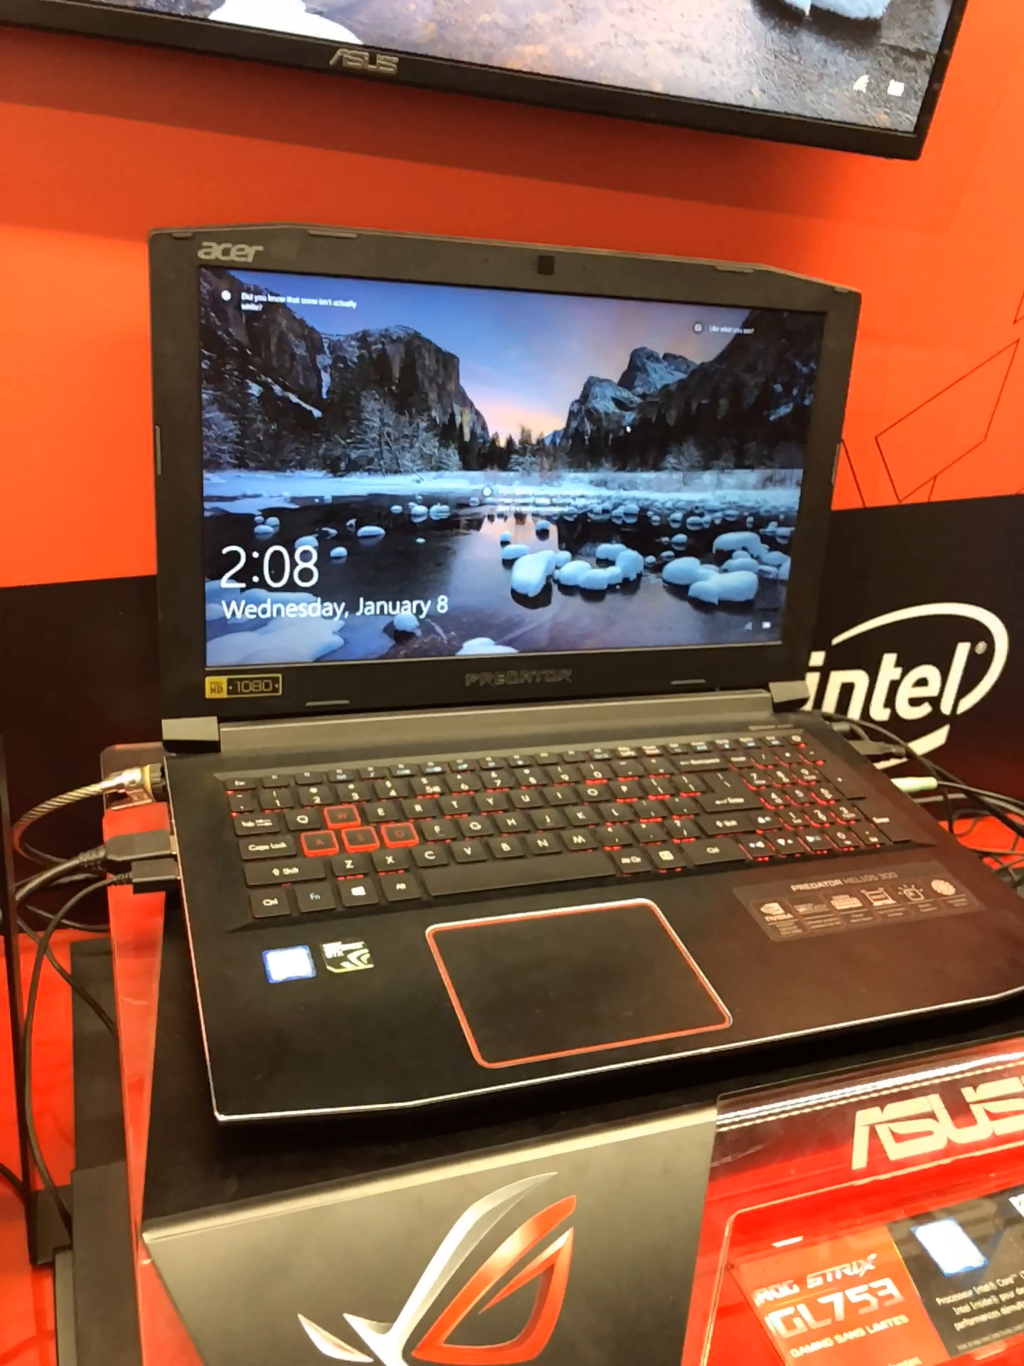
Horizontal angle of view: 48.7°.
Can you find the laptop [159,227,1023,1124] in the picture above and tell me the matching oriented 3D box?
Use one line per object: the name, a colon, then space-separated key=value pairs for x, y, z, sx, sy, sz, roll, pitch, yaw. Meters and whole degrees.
laptop: x=0.050 y=-0.041 z=0.515 sx=0.385 sy=0.240 sz=0.295 roll=-3 pitch=28 yaw=-20
